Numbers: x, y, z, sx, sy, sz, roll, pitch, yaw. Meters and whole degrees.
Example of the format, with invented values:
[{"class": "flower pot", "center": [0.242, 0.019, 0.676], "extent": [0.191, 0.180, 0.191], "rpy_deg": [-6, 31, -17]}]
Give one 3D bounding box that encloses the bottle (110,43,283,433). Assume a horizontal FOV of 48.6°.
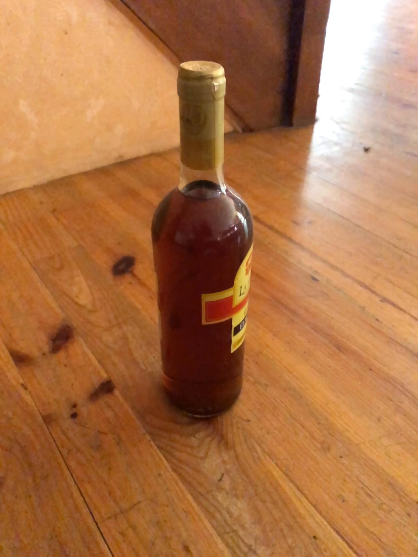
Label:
[{"class": "bottle", "center": [-0.002, -0.009, 0.351], "extent": [0.080, 0.288, 0.081], "rpy_deg": [0, 38, 0]}]
